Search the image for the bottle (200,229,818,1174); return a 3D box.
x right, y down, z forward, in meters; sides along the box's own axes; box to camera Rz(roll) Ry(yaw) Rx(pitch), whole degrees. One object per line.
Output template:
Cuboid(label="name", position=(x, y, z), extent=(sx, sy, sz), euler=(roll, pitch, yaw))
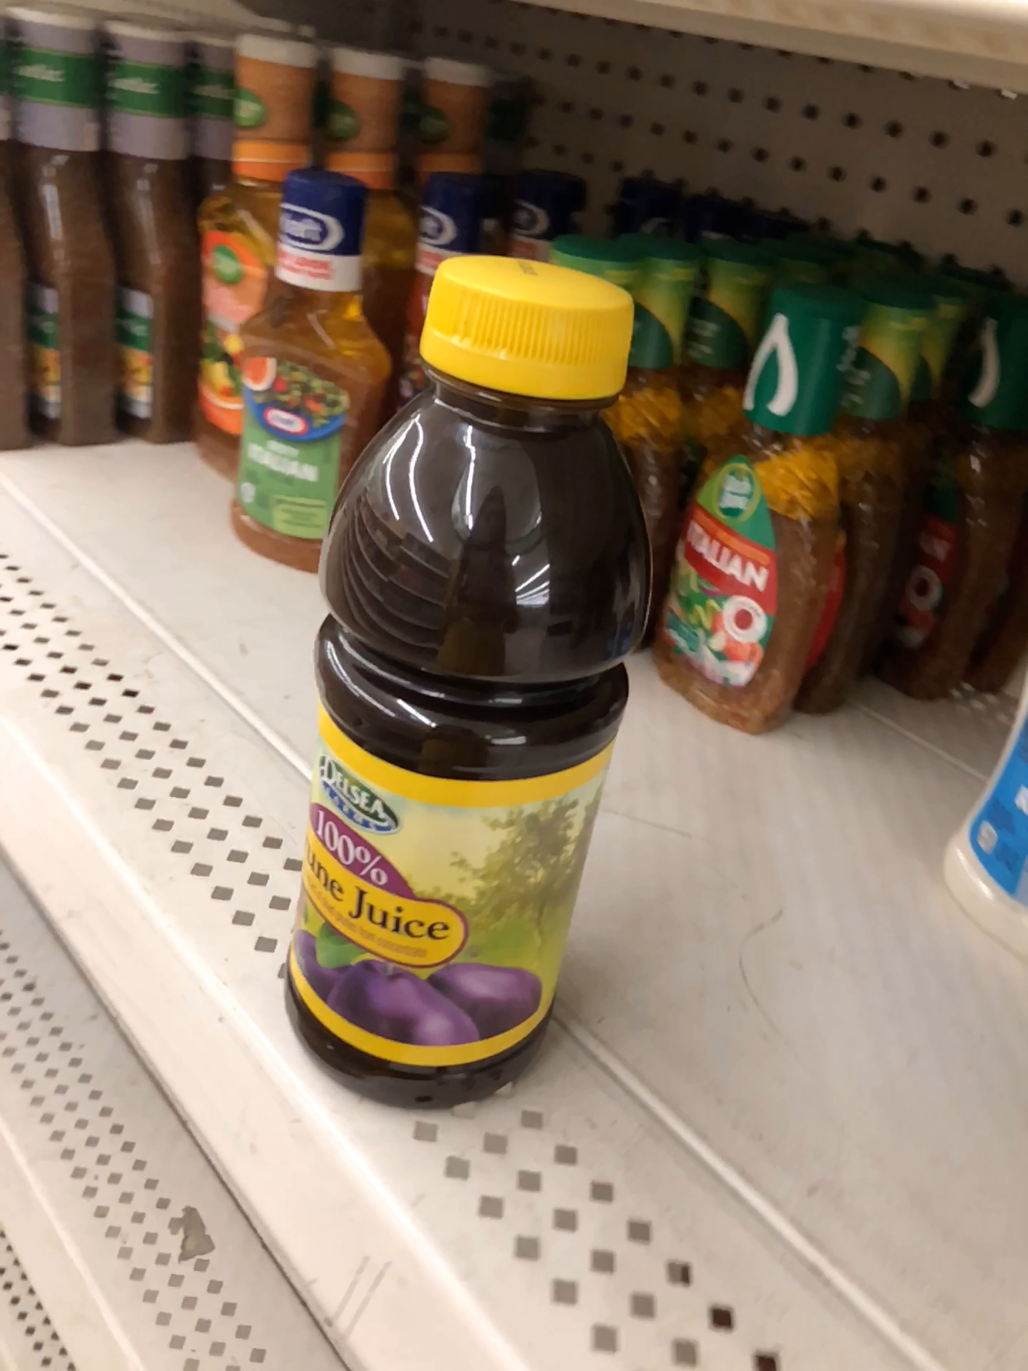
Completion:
Cuboid(label="bottle", position=(-0.013, 0.002, 0.257), extent=(0.080, 0.181, 0.080), euler=(8, 30, -4))
